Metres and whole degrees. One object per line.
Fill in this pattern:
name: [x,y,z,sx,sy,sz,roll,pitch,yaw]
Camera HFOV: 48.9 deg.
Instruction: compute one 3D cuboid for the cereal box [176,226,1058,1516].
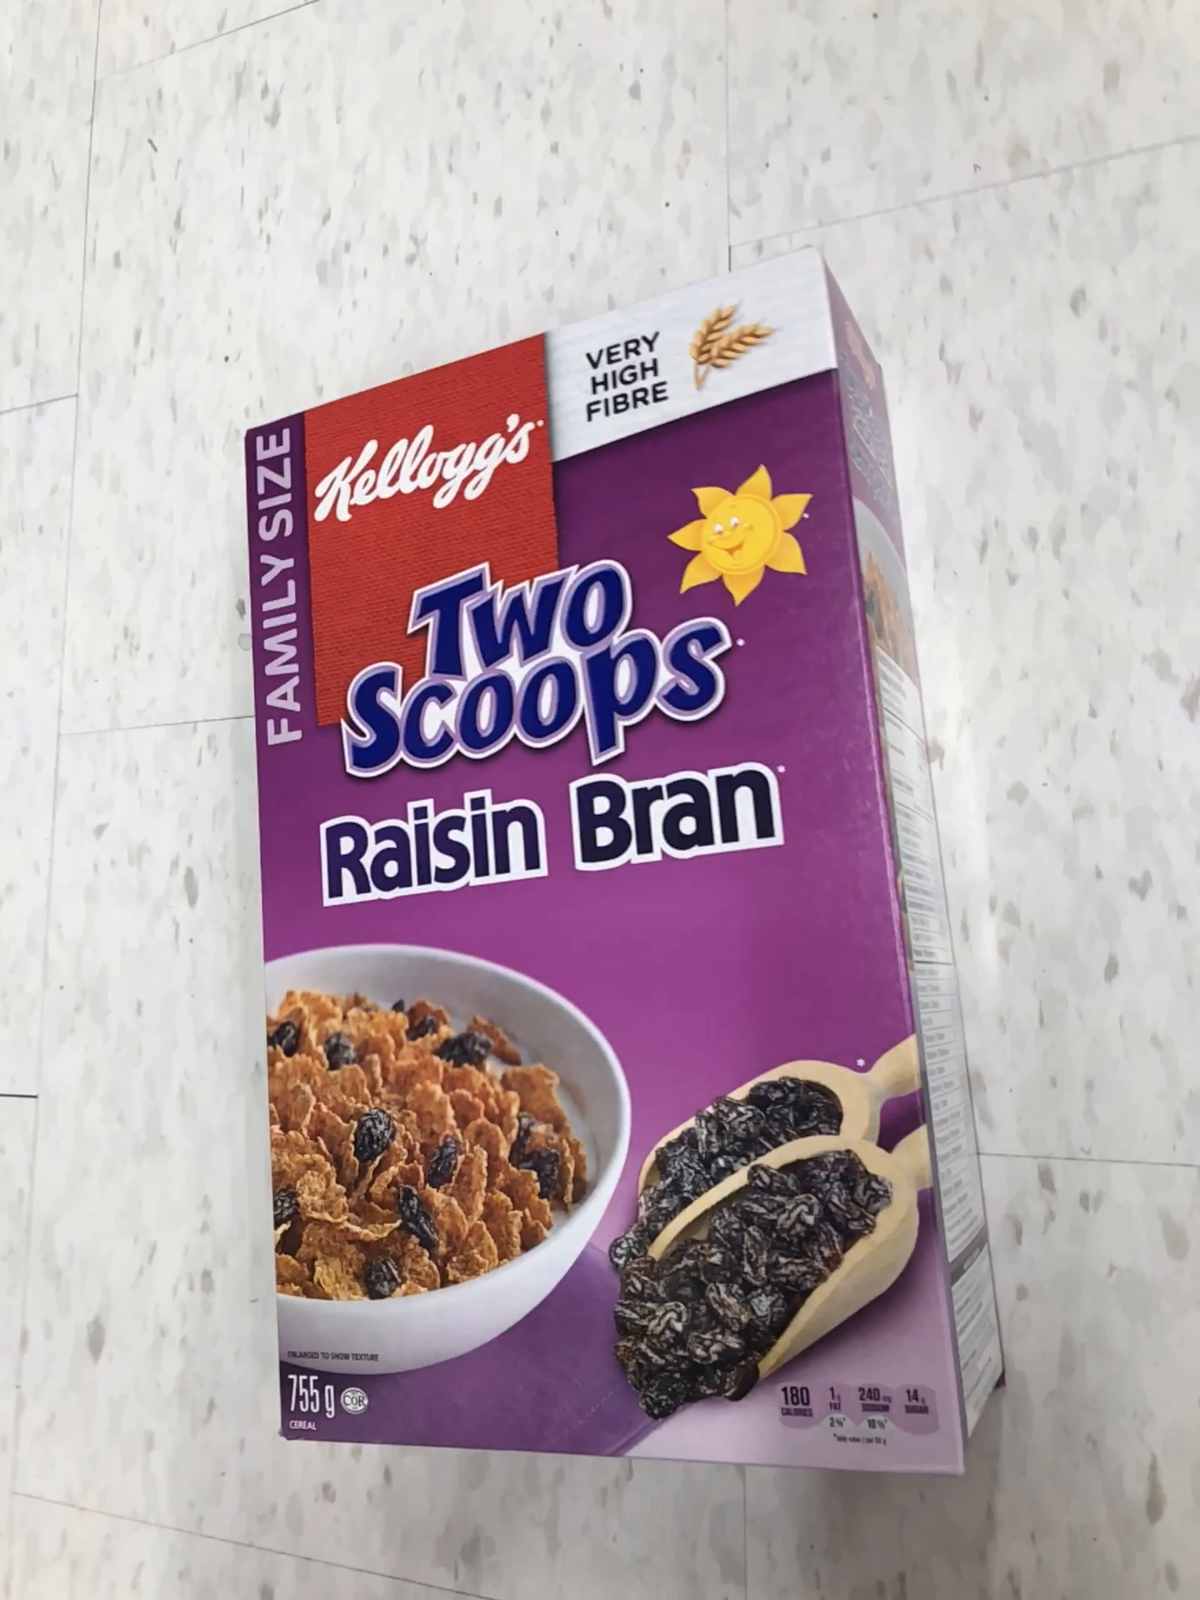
cereal box: [-0.007,0.024,0.384,0.220,0.080,0.300,-9,78,24]
